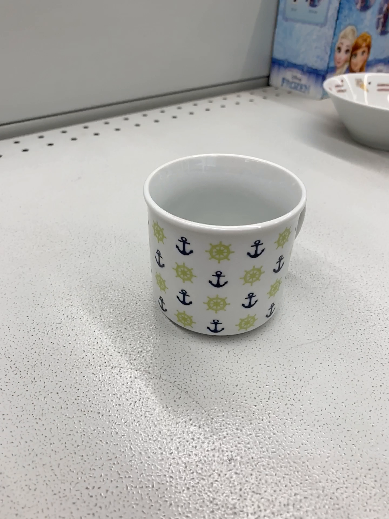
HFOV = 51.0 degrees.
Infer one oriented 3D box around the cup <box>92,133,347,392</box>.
[{"bbox_3d":[0.015,-0.007,0.213,0.078,0.076,0.096,25,43,30],"label":"cup"}]
